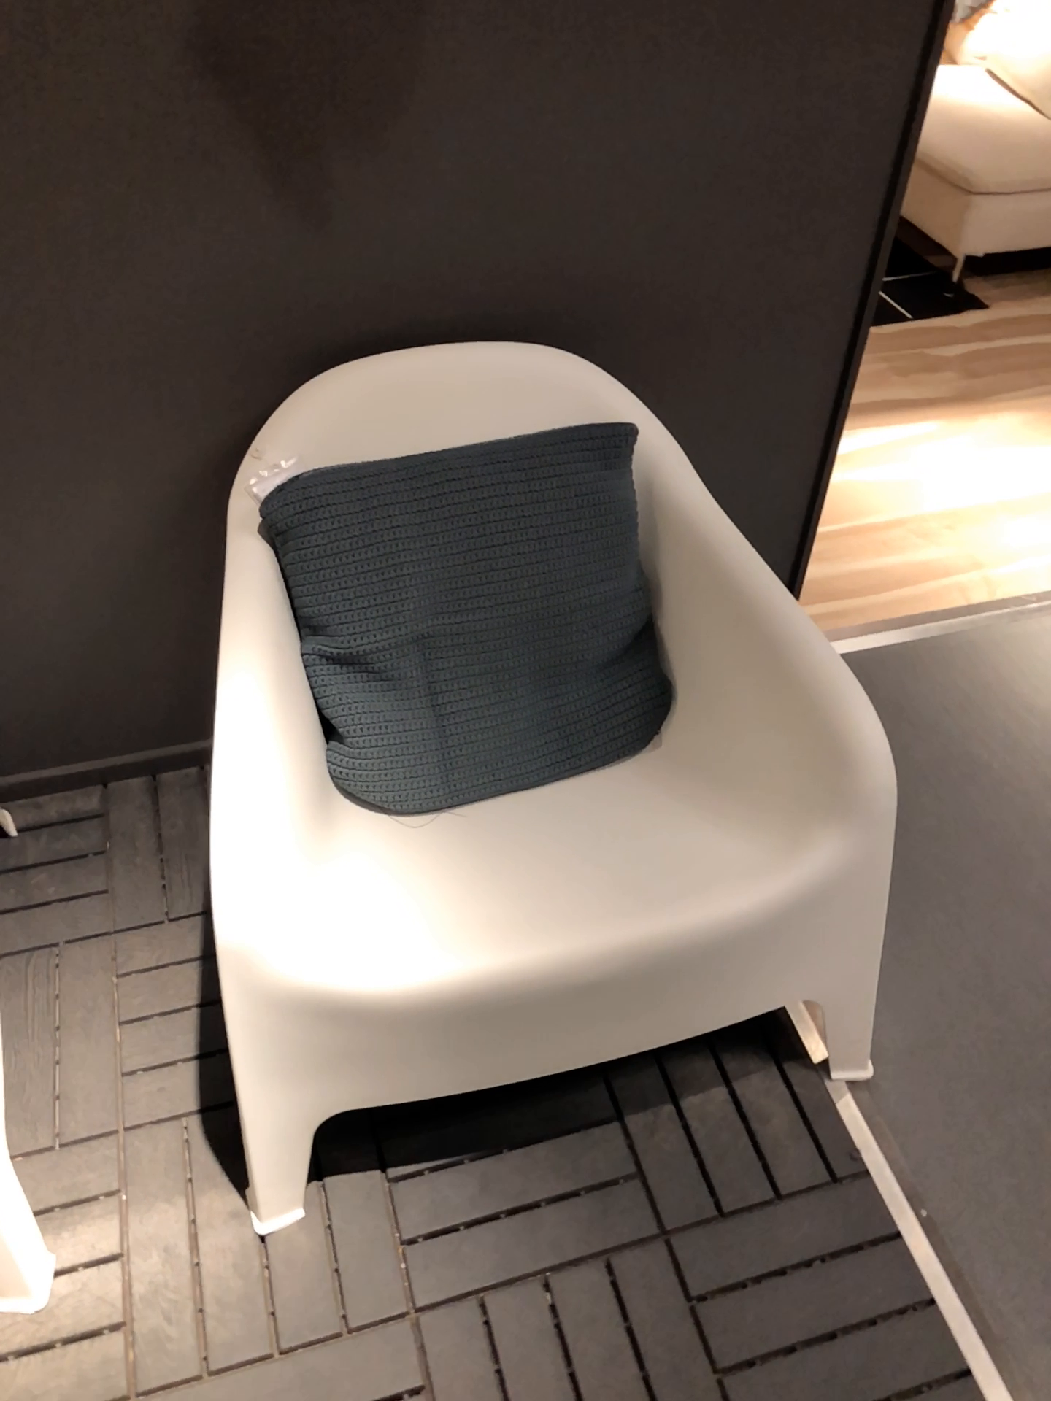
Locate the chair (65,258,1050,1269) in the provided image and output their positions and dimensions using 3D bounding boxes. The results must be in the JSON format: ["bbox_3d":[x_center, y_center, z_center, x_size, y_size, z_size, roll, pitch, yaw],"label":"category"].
[{"bbox_3d":[-0.026,0.028,1.409,0.831,0.765,0.785,-11,45,-15],"label":"chair"}]
